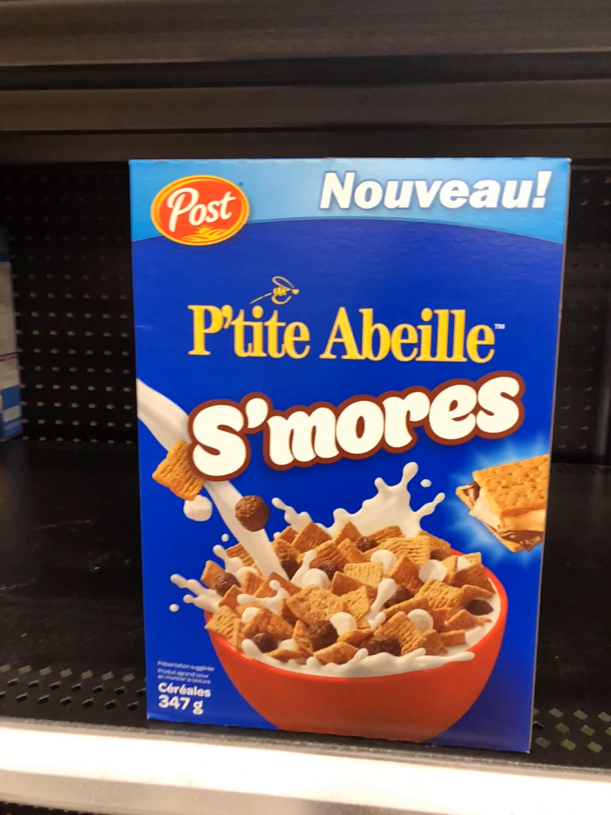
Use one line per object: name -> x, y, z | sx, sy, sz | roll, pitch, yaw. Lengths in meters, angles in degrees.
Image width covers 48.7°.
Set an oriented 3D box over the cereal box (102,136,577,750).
cereal box -> 0.013, 0.018, 0.338 | 0.200, 0.279, 0.060 | 1, 10, 5
